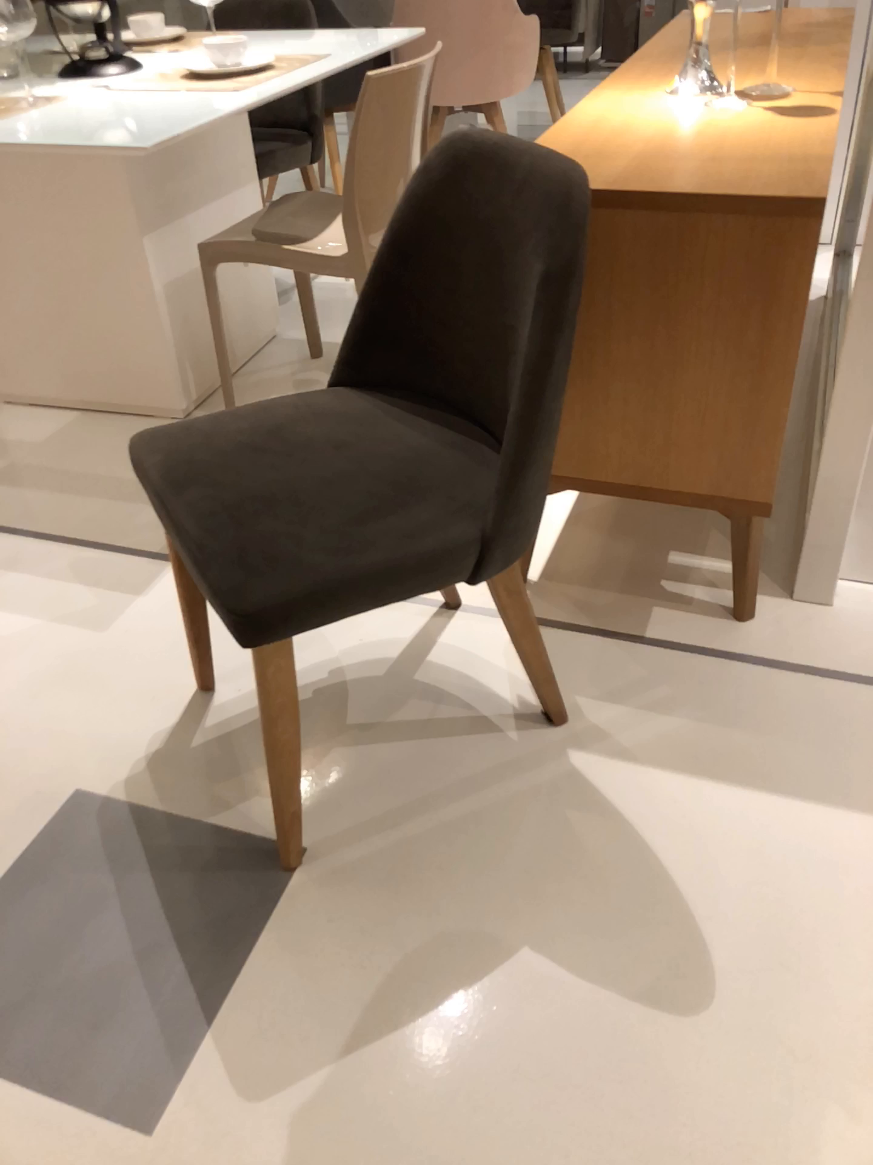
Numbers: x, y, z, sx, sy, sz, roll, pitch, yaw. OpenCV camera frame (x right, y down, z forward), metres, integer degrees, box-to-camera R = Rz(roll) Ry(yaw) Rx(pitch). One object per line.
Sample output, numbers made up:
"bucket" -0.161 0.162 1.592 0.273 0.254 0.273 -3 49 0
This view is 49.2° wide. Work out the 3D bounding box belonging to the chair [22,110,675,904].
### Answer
"chair" -0.106 -0.129 1.272 0.561 0.774 0.533 -19 38 -19
